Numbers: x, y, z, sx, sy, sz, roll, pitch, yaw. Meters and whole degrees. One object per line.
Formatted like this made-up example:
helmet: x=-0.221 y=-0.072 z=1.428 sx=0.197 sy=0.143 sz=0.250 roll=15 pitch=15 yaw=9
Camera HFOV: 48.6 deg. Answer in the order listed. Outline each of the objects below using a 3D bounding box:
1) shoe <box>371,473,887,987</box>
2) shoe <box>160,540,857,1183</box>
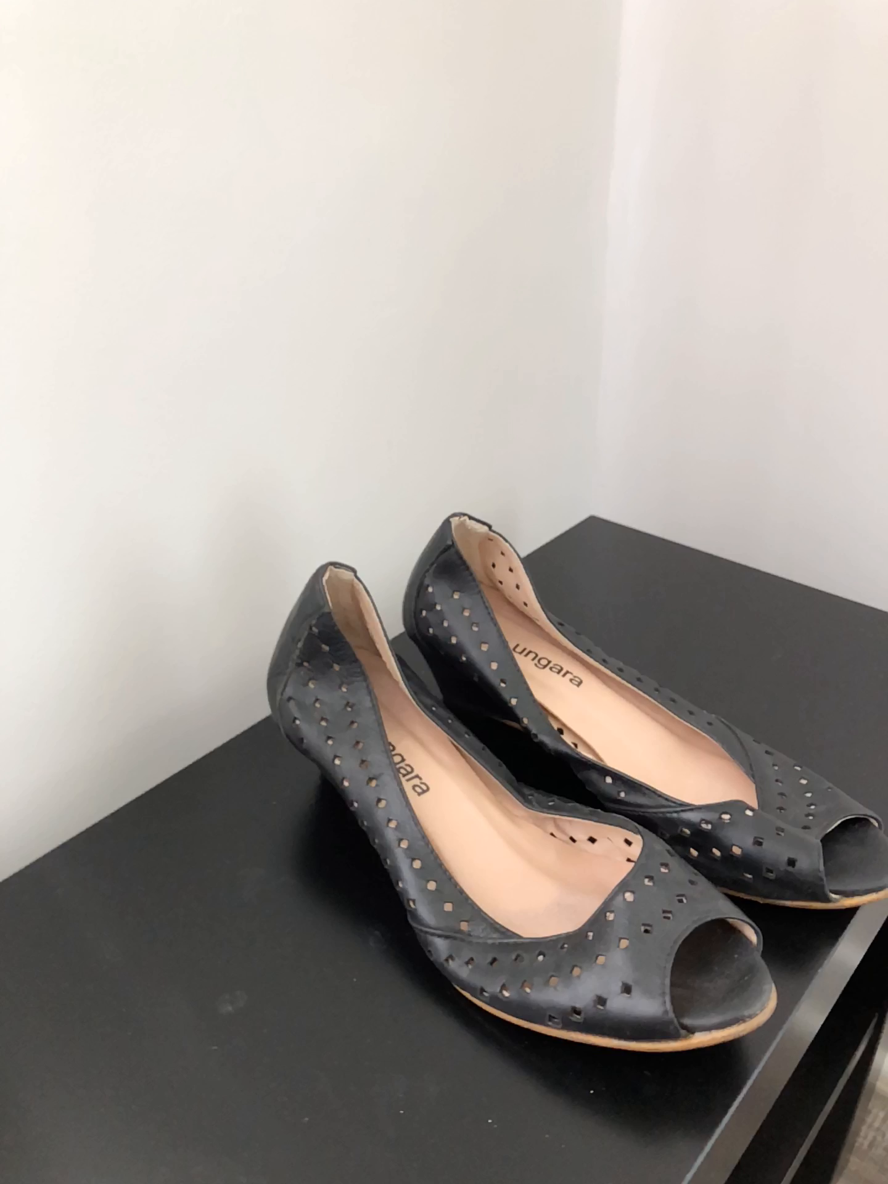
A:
shoe: x=0.082 y=0.039 z=0.398 sx=0.221 sy=0.100 sz=0.085 roll=23 pitch=38 yaw=34
shoe: x=0.008 y=0.075 z=0.354 sx=0.231 sy=0.100 sz=0.085 roll=24 pitch=38 yaw=36
